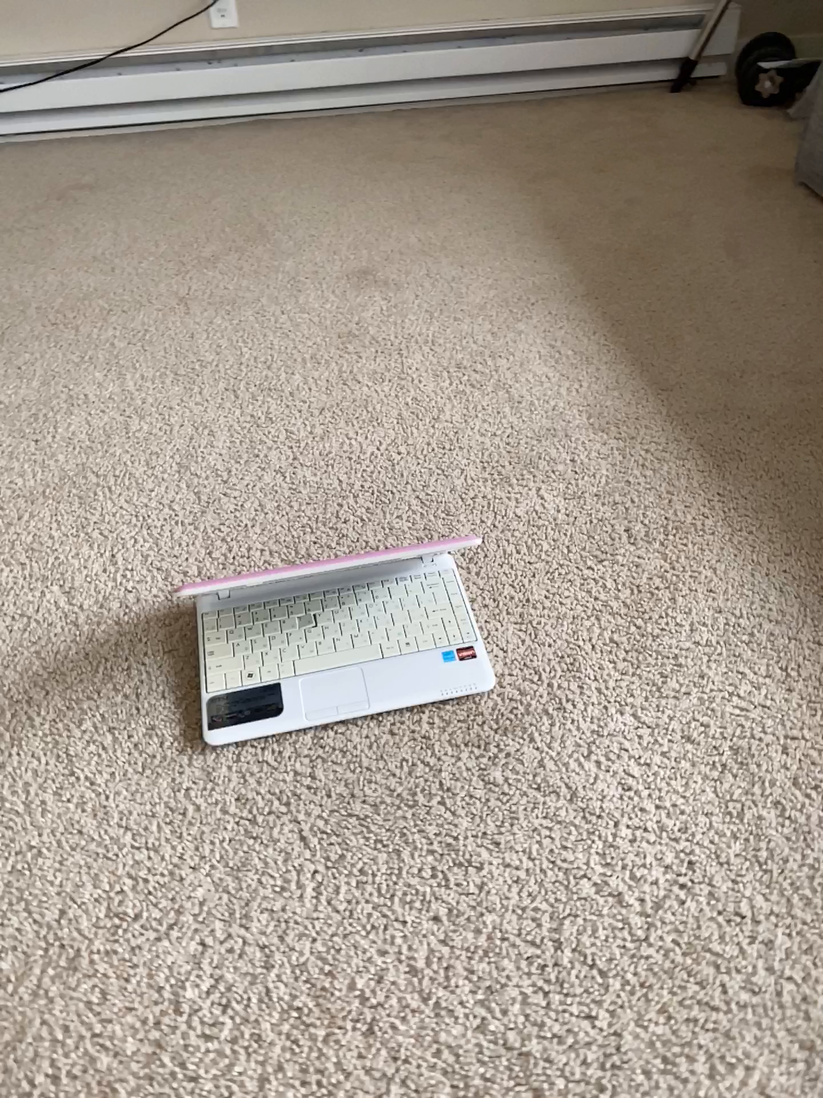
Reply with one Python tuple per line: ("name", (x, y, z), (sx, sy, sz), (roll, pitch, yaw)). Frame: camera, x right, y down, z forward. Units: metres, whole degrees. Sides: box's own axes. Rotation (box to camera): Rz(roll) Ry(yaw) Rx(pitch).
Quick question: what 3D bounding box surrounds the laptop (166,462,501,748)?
("laptop", (-0.083, 0.049, 0.845), (0.296, 0.122, 0.198), (-10, 46, -6))
